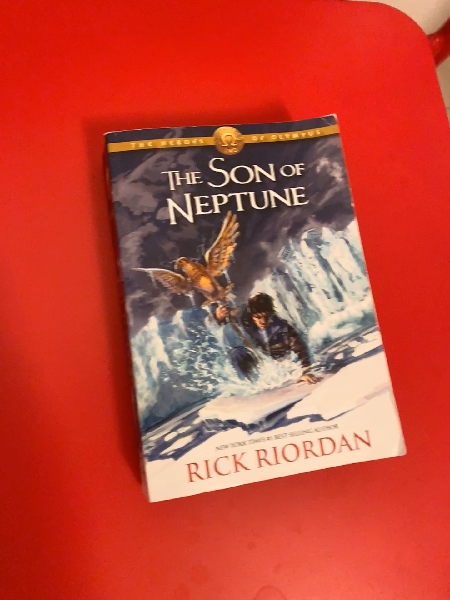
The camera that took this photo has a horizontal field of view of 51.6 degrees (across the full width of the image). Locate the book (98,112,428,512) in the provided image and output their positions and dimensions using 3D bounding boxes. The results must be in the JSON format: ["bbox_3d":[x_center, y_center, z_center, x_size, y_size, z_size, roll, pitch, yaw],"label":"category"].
[{"bbox_3d":[0.015,-0.003,0.253,0.142,0.040,0.188,-7,80,-12],"label":"book"}]
